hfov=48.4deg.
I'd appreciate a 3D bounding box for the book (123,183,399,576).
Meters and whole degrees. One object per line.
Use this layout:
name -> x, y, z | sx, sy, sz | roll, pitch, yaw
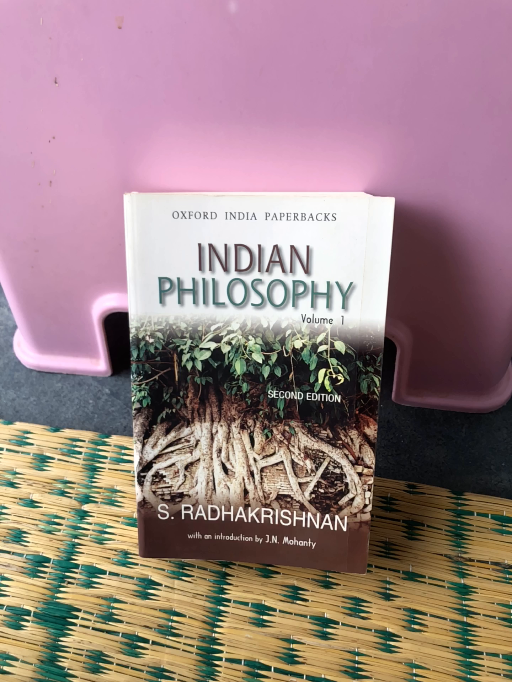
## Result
book -> 0.001, 0.019, 0.340 | 0.140, 0.210, 0.070 | 2, 10, 3
